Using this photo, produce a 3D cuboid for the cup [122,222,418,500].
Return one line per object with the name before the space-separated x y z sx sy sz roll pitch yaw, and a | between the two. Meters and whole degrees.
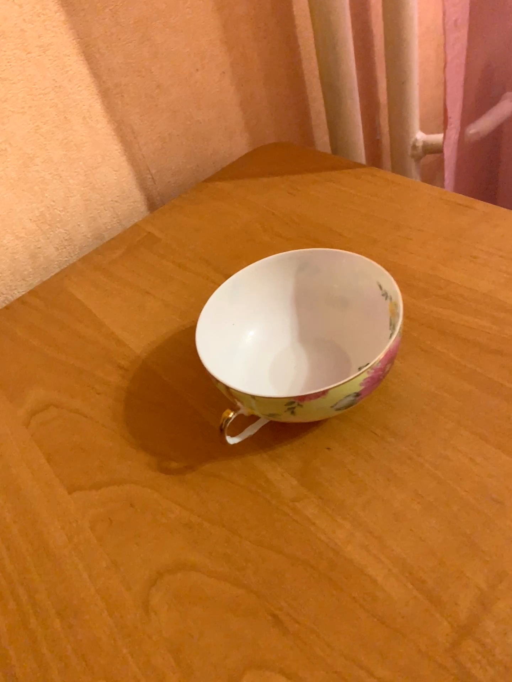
cup | 0.009 0.002 0.255 0.113 0.045 0.079 -39 47 -19
